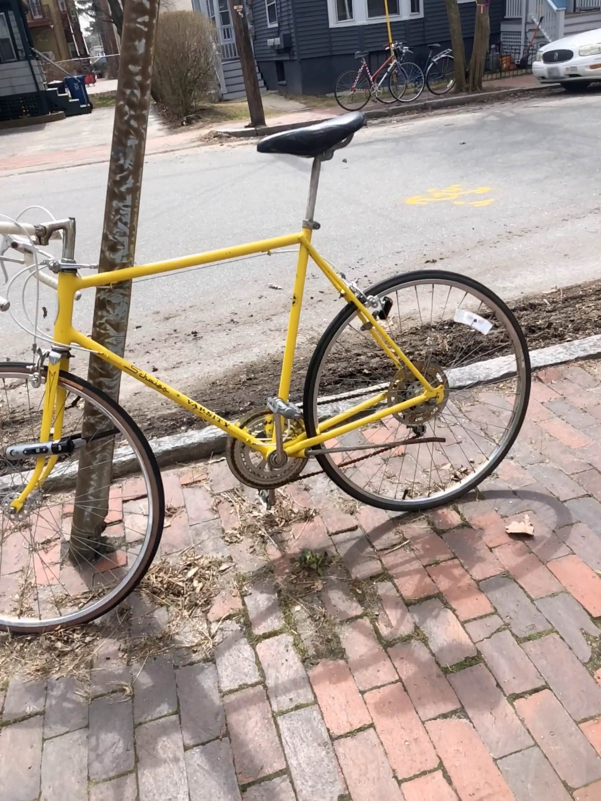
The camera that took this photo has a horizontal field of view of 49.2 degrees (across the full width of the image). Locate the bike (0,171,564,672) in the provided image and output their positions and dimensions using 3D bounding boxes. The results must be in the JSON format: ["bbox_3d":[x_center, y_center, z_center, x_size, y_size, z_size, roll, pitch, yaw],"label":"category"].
[{"bbox_3d":[-0.220,0.004,1.848,1.686,0.804,0.542,-16,29,-7],"label":"bike"}]
